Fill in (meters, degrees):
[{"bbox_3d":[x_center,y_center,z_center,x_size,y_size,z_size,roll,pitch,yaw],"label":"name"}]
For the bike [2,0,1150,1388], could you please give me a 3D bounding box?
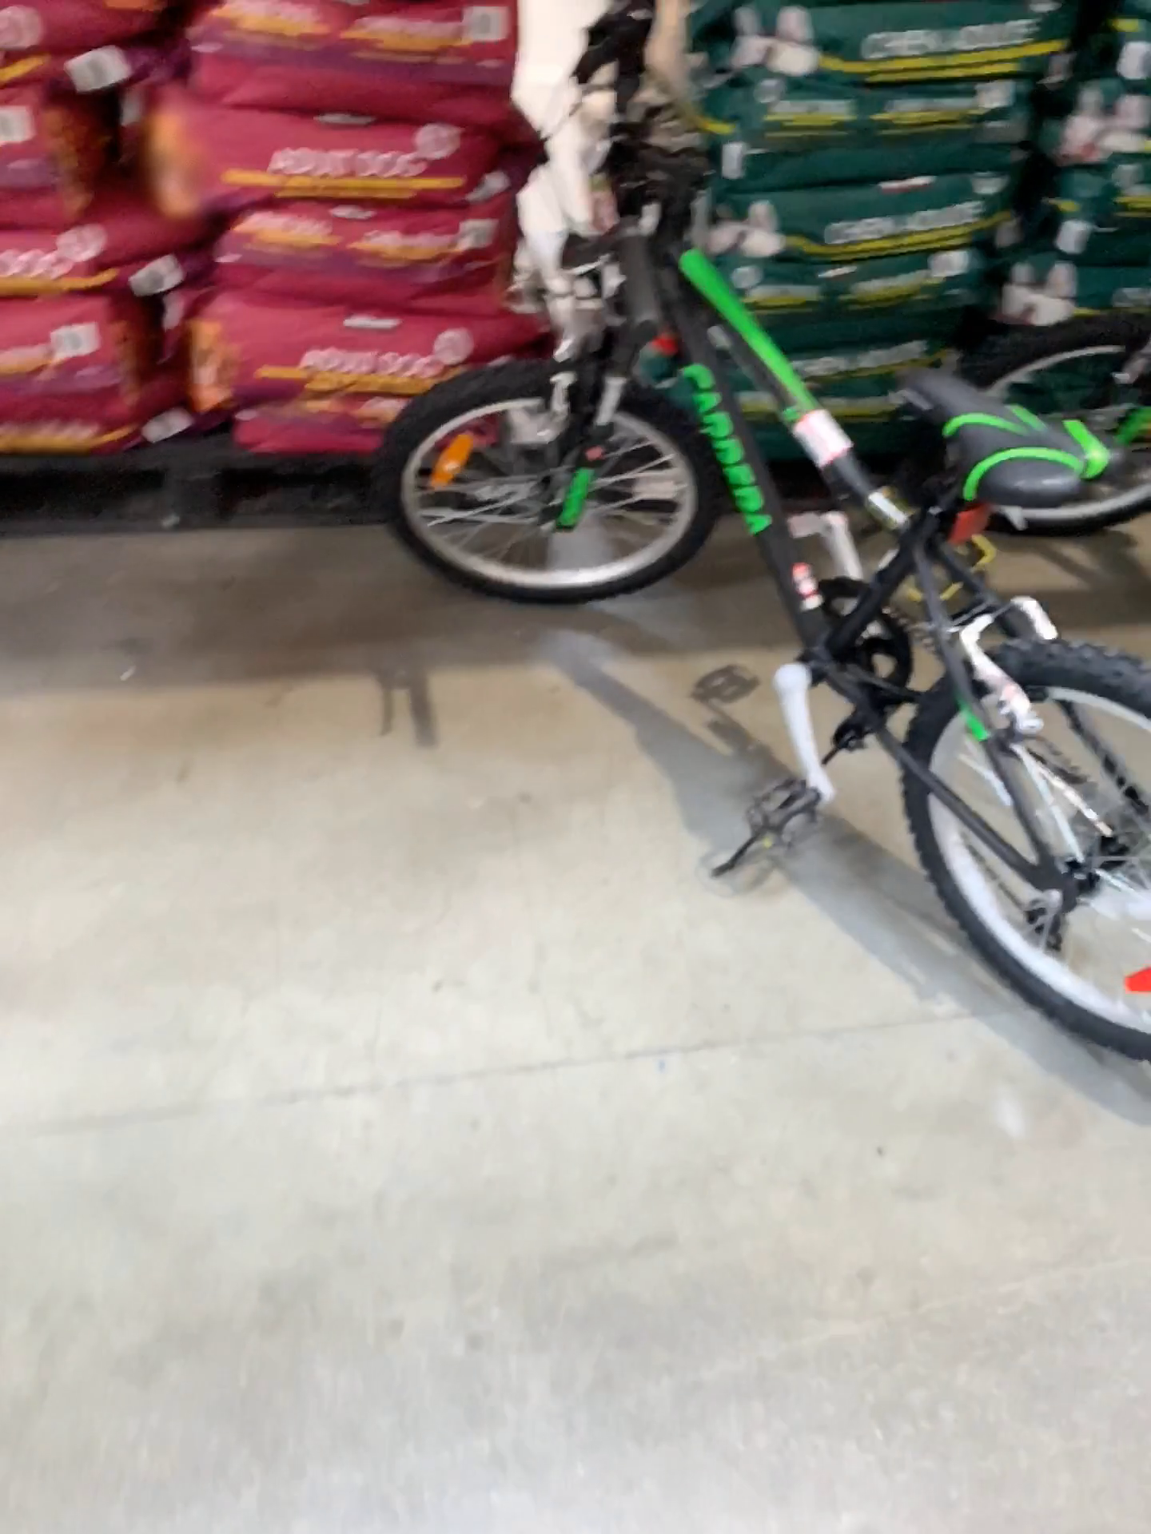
[{"bbox_3d":[0.245,-0.208,1.251,1.308,0.855,0.709,35,50,25],"label":"bike"}]
